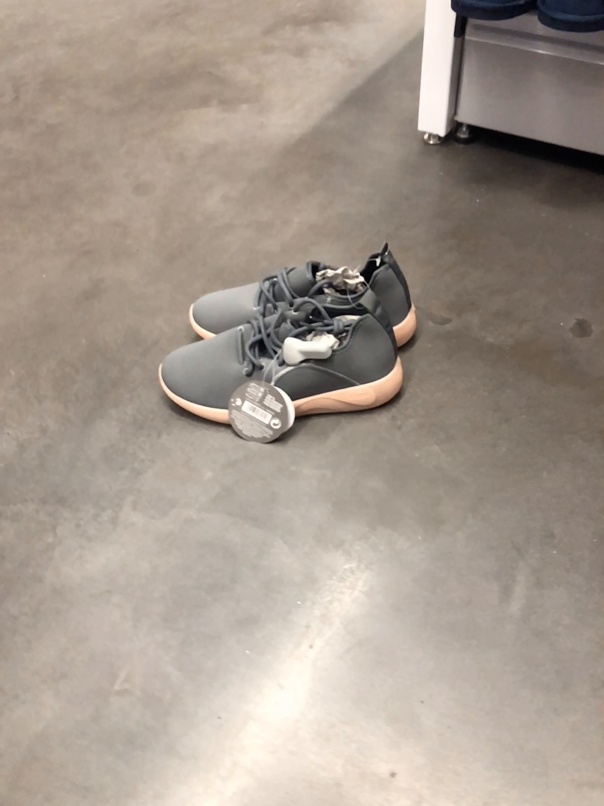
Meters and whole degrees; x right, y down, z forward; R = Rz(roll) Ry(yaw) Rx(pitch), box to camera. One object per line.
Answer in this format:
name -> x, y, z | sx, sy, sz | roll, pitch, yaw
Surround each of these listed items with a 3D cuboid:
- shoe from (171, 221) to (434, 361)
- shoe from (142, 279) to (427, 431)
shoe -> 0.004, -0.111, 0.673 | 0.240, 0.099, 0.090 | -1, 50, 4
shoe -> -0.012, -0.044, 0.625 | 0.240, 0.099, 0.090 | -2, 50, 3
